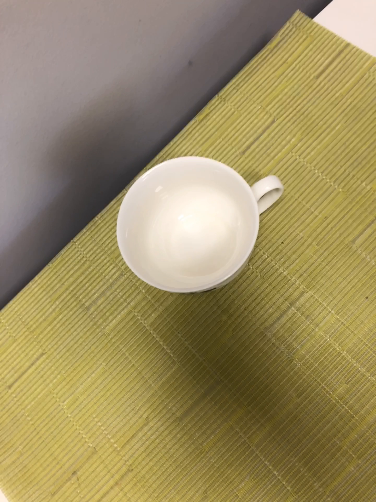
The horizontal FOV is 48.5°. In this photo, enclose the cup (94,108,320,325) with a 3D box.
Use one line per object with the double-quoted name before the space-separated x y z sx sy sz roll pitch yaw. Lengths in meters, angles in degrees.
"cup" 0.012 -0.021 0.283 0.113 0.051 0.088 -33 70 3
